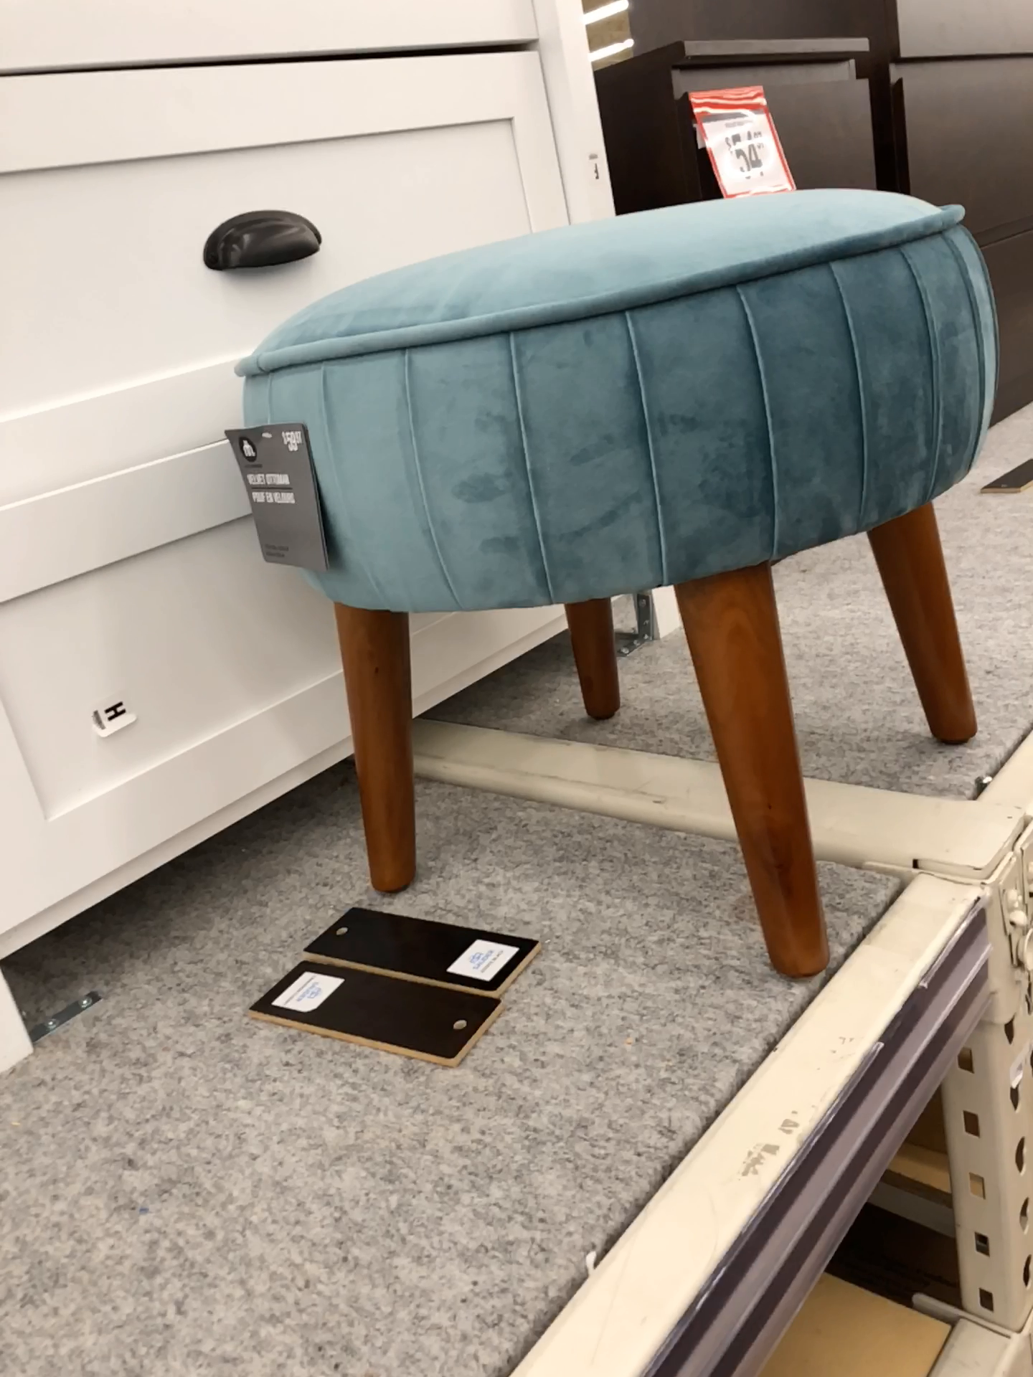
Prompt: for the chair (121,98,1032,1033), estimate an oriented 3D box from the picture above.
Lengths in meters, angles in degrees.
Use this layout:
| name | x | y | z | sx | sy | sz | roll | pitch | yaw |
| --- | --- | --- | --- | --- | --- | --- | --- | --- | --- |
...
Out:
| name | x | y | z | sx | sy | sz | roll | pitch | yaw |
| --- | --- | --- | --- | --- | --- | --- | --- | --- | --- |
| chair | 0.066 | -0.104 | 0.729 | 0.371 | 0.399 | 0.371 | 6 | 26 | 42 |
